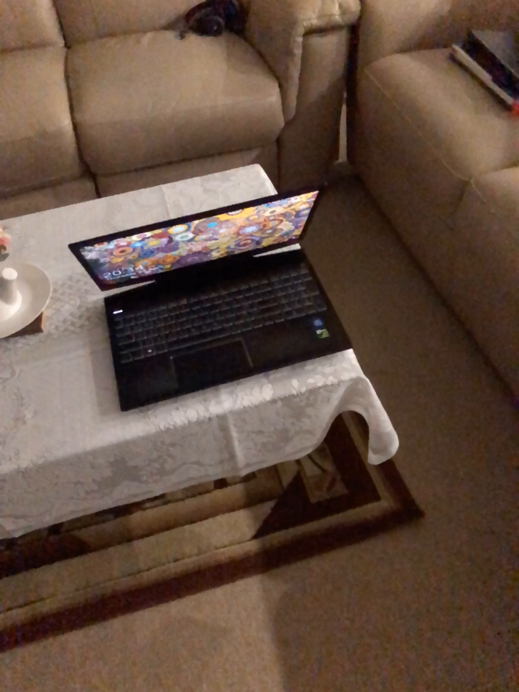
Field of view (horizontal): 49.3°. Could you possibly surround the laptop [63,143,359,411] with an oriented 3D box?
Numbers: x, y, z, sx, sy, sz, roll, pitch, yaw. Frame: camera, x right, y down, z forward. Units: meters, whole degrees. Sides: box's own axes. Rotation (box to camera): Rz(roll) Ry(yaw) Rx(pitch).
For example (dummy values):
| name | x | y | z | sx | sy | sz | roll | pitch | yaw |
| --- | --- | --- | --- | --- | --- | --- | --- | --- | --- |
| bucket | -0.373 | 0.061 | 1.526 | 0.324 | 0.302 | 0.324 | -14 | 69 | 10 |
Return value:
| name | x | y | z | sx | sy | sz | roll | pitch | yaw |
| --- | --- | --- | --- | --- | --- | --- | --- | --- | --- |
| laptop | -0.072 | -0.107 | 0.833 | 0.355 | 0.199 | 0.244 | -16 | 51 | -7 |
